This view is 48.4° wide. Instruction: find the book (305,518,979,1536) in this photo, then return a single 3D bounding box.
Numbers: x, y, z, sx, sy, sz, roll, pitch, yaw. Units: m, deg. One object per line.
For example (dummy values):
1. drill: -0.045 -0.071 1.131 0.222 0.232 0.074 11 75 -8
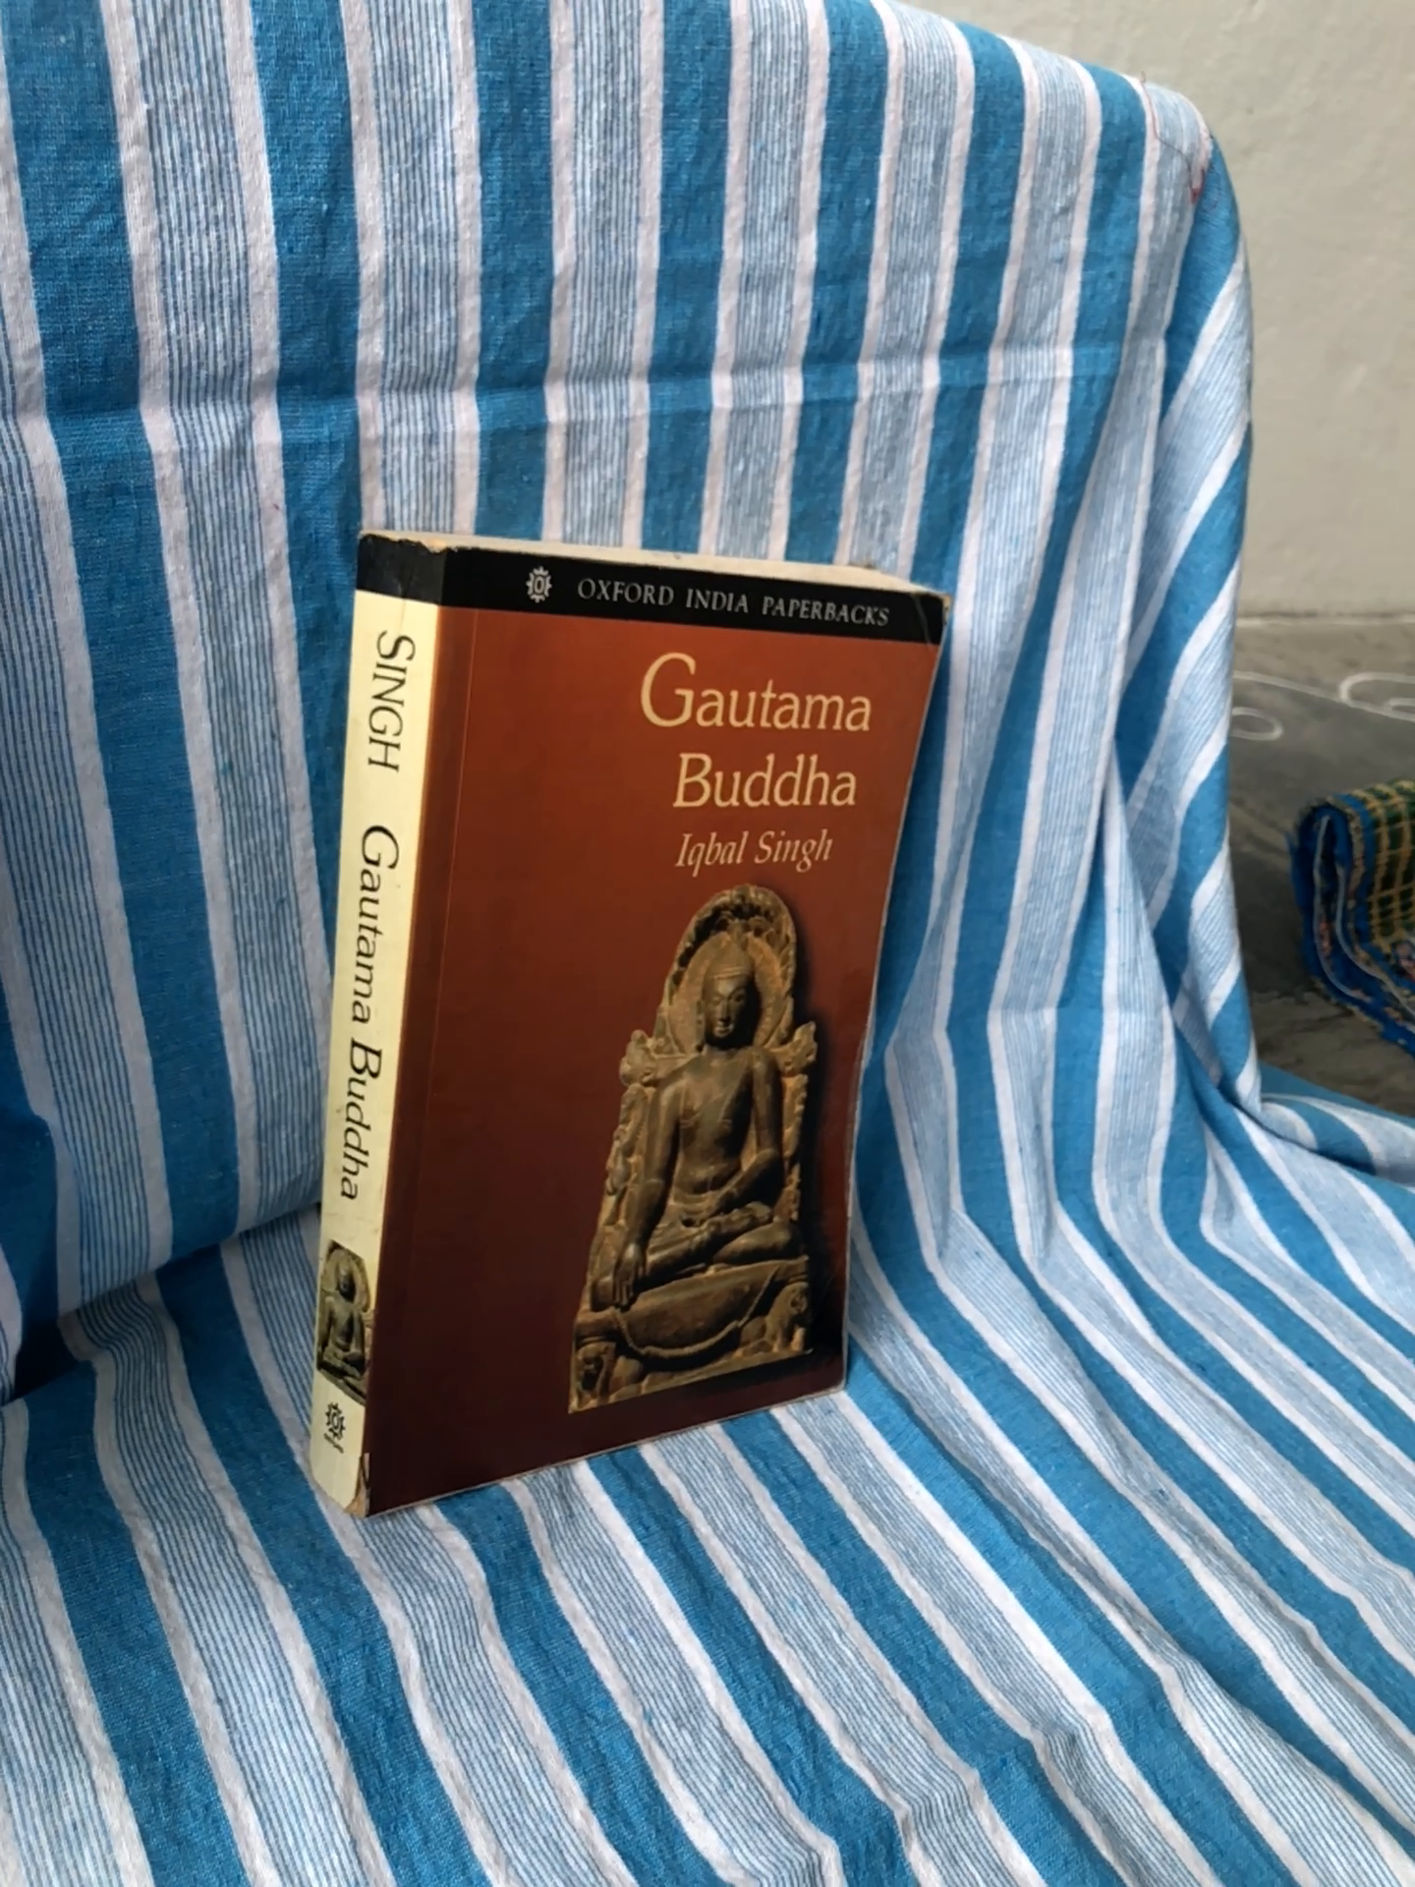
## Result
1. book: -0.016 0.016 0.366 0.141 0.209 0.040 -5 17 -33
